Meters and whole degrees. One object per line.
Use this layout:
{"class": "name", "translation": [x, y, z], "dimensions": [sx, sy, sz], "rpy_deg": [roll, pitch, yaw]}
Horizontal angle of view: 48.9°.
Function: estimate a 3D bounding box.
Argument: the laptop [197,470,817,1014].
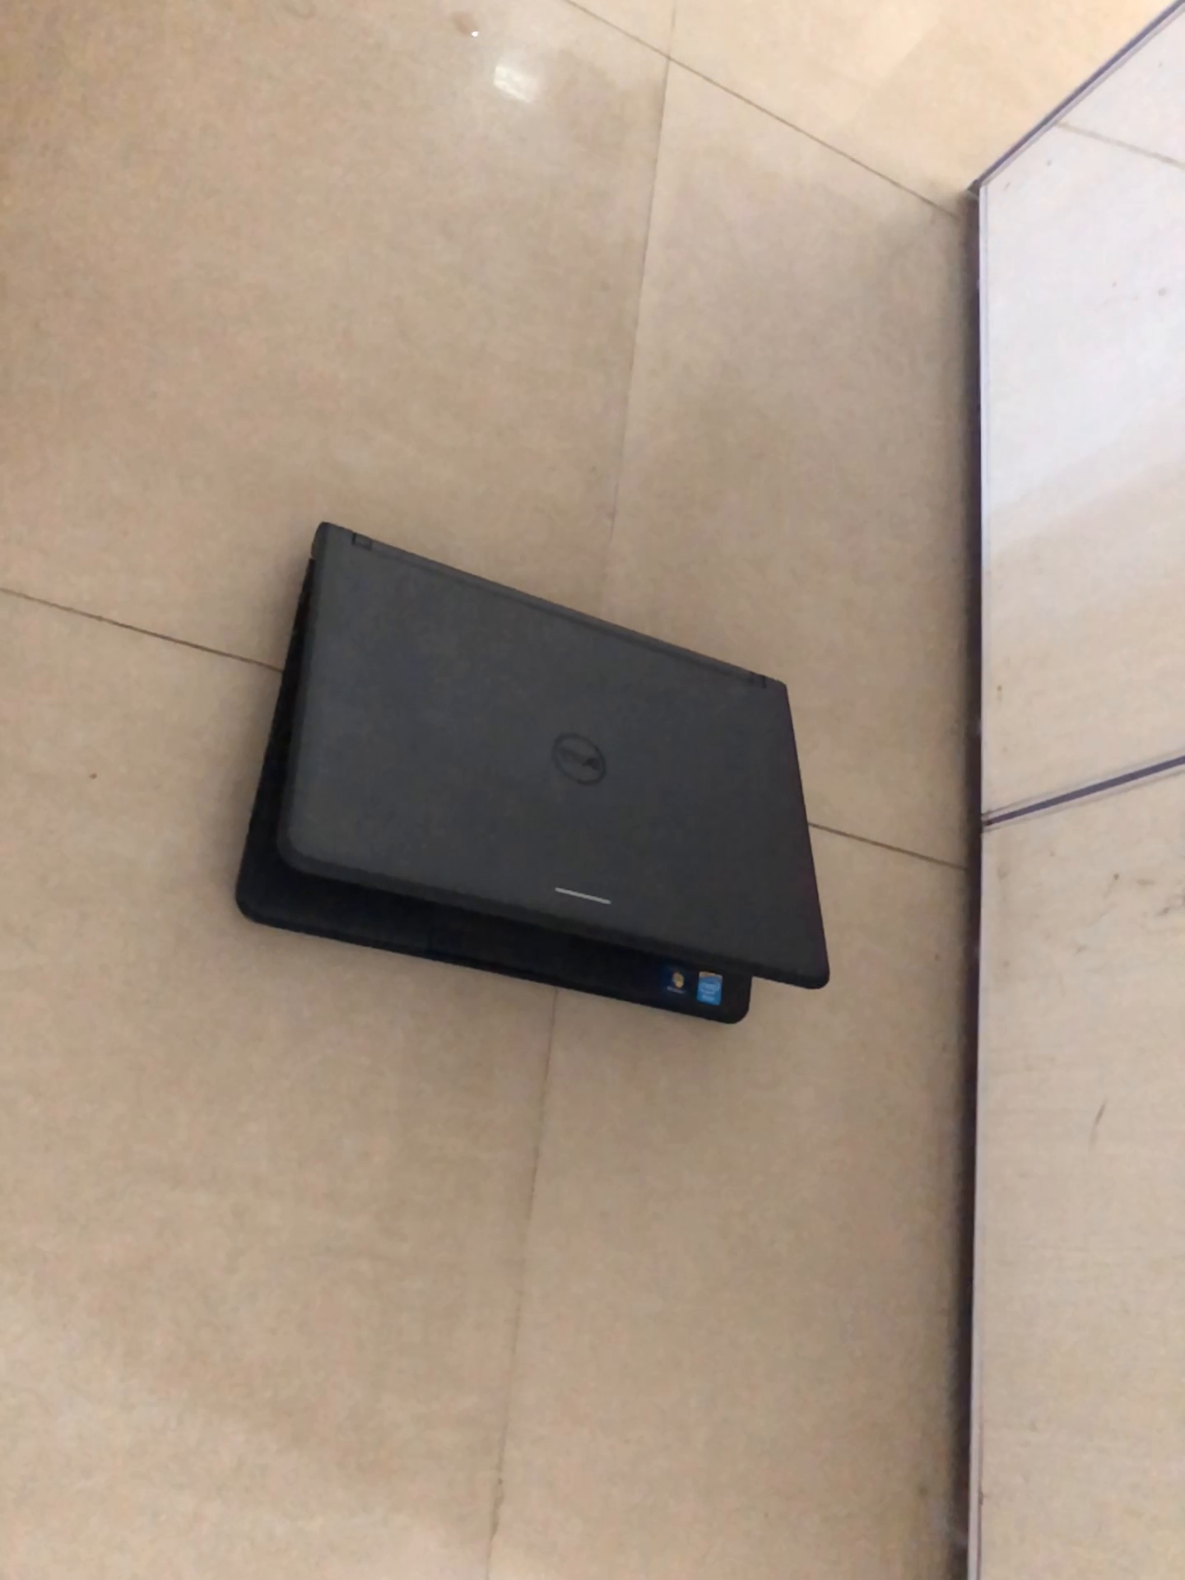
{"class": "laptop", "translation": [-0.034, -0.015, 0.743], "dimensions": [0.315, 0.064, 0.220], "rpy_deg": [16, 73, -23]}
